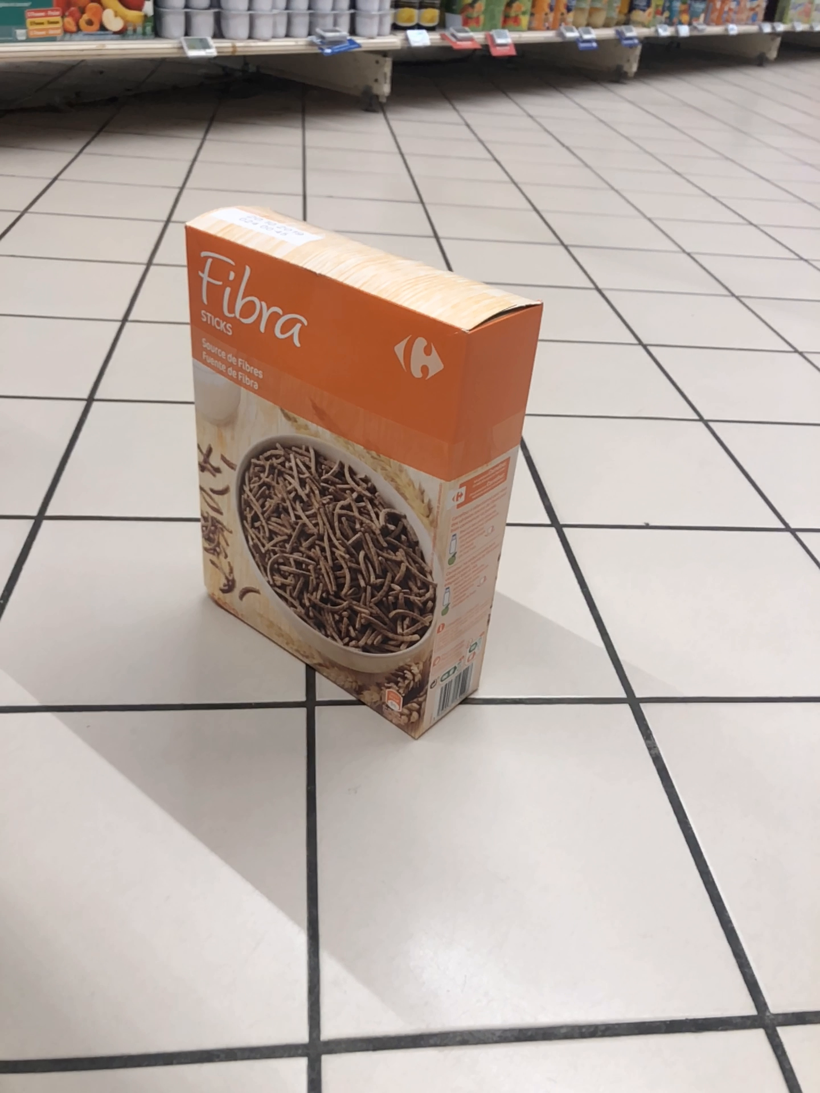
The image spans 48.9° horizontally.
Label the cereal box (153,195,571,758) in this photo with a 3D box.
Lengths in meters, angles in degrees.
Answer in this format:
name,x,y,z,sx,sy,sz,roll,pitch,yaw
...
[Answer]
name,x,y,z,sx,sy,sz,roll,pitch,yaw
cereal box,-0.039,-0.042,0.498,0.200,0.238,0.080,29,40,31
